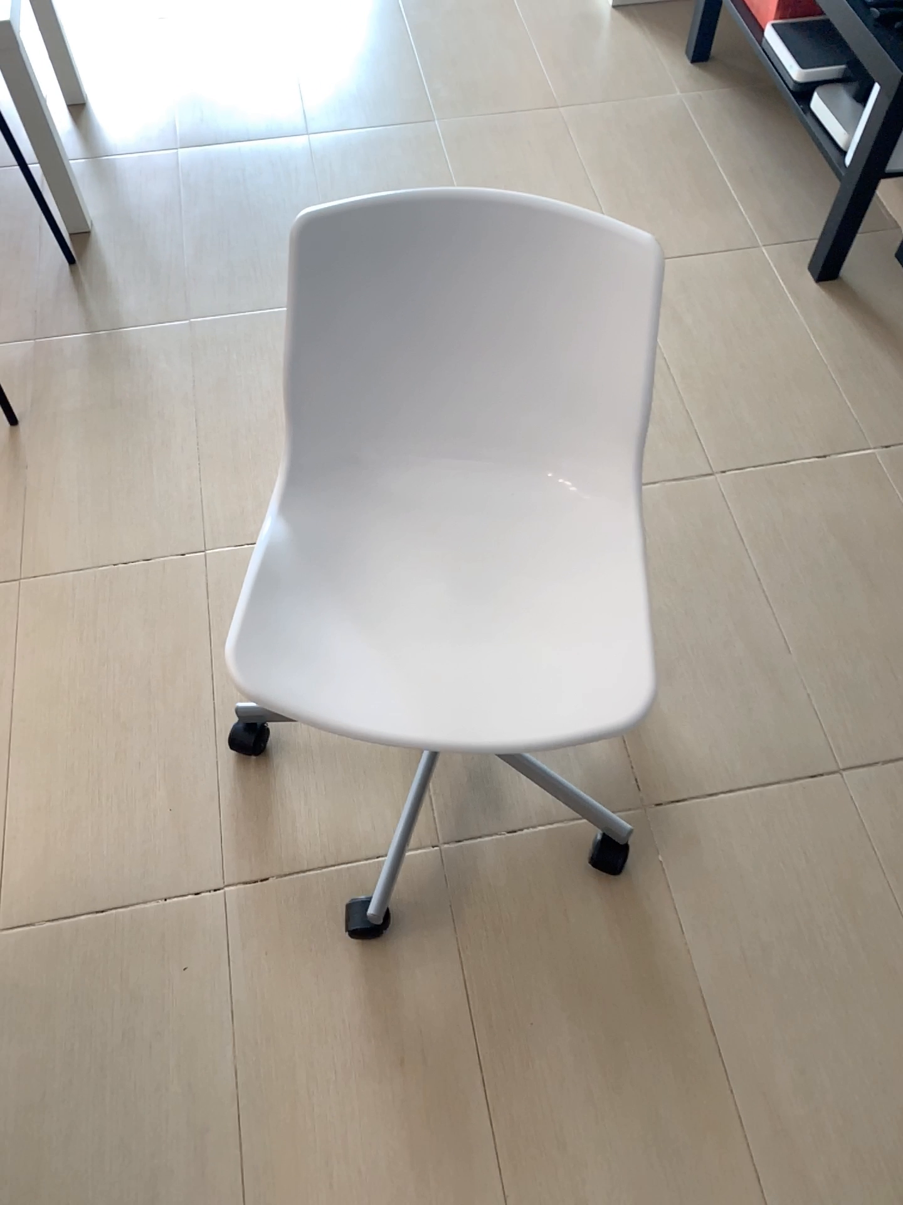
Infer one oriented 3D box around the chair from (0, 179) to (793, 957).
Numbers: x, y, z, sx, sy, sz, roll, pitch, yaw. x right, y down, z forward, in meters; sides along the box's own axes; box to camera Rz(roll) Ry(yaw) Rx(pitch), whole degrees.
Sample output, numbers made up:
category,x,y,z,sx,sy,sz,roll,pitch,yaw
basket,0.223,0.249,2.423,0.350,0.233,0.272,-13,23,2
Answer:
category,x,y,z,sx,sy,sz,roll,pitch,yaw
chair,-0.032,-0.015,1.217,0.641,0.647,0.782,2,59,1
